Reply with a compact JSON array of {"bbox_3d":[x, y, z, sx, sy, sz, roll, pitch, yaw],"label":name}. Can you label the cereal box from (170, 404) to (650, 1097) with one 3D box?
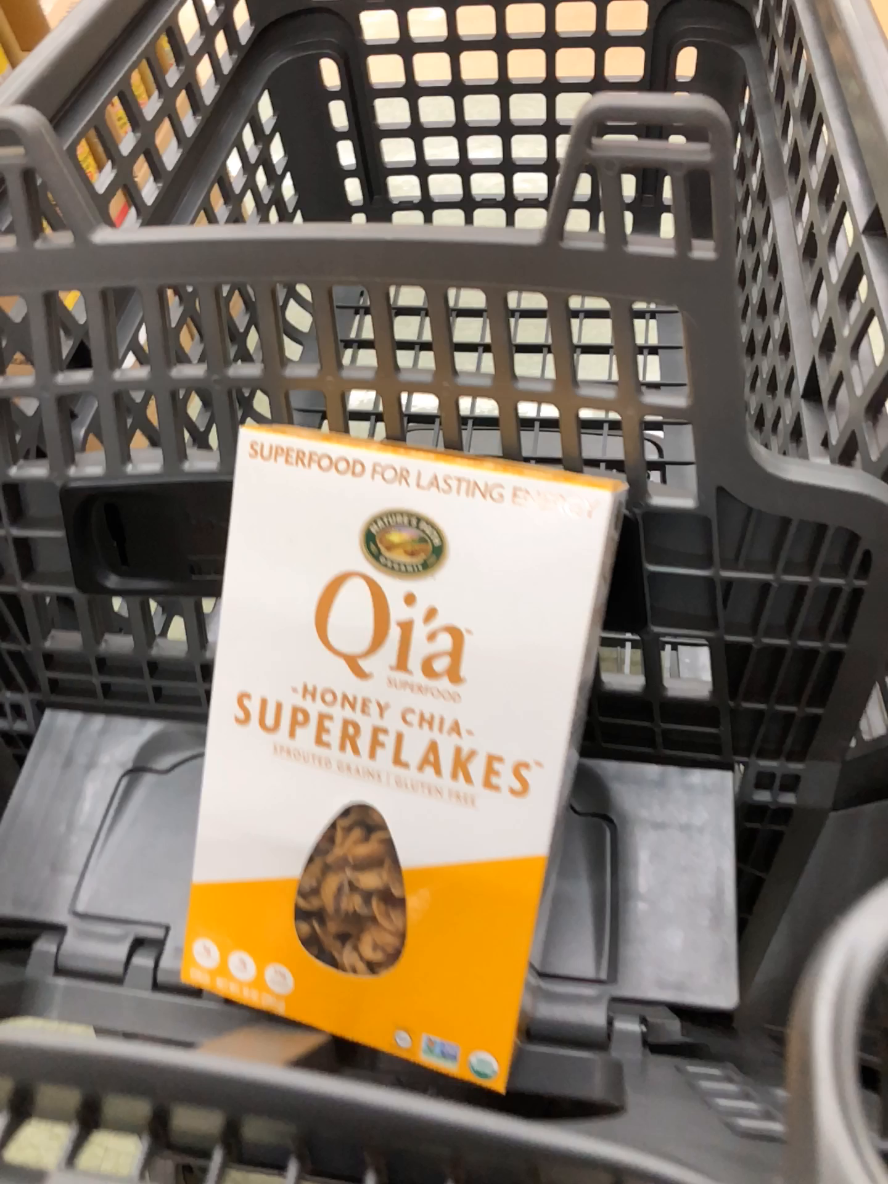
[{"bbox_3d":[-0.018,0.062,0.435,0.160,0.070,0.260,13,101,15],"label":"cereal box"}]
